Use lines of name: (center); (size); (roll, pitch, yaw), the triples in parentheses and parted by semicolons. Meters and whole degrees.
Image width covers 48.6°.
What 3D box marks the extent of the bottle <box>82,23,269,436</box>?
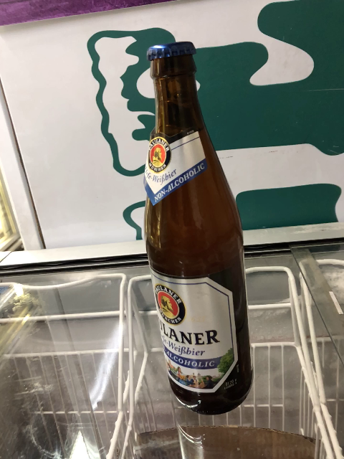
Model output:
bottle: (0.011, 0.007, 0.247); (0.060, 0.238, 0.070); (-25, 27, -37)
